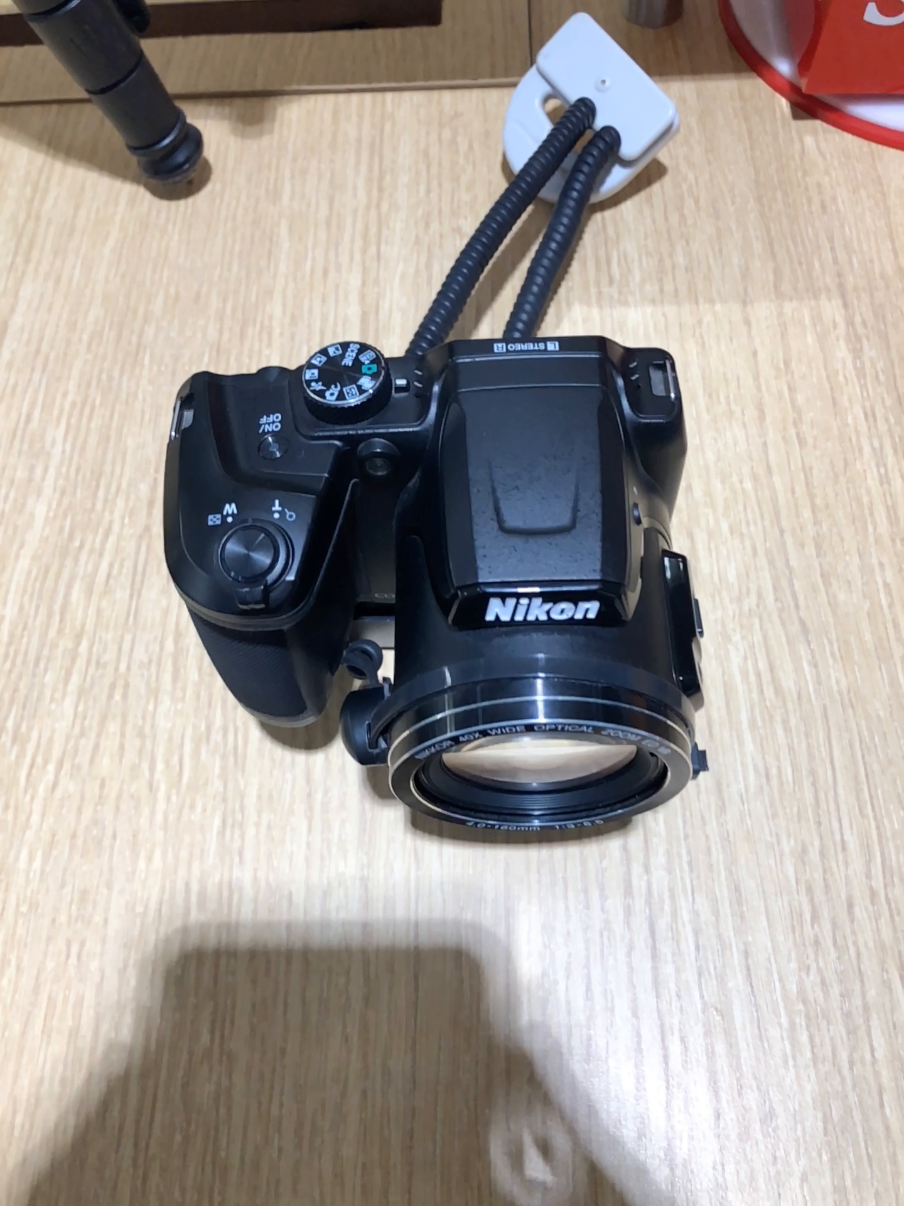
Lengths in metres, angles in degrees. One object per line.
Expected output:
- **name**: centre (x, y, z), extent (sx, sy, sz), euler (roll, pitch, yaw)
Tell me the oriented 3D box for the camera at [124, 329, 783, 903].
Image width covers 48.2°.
- **camera**: centre (0.000, 0.006, 0.210), extent (0.103, 0.070, 0.093), euler (-3, 62, 1)
